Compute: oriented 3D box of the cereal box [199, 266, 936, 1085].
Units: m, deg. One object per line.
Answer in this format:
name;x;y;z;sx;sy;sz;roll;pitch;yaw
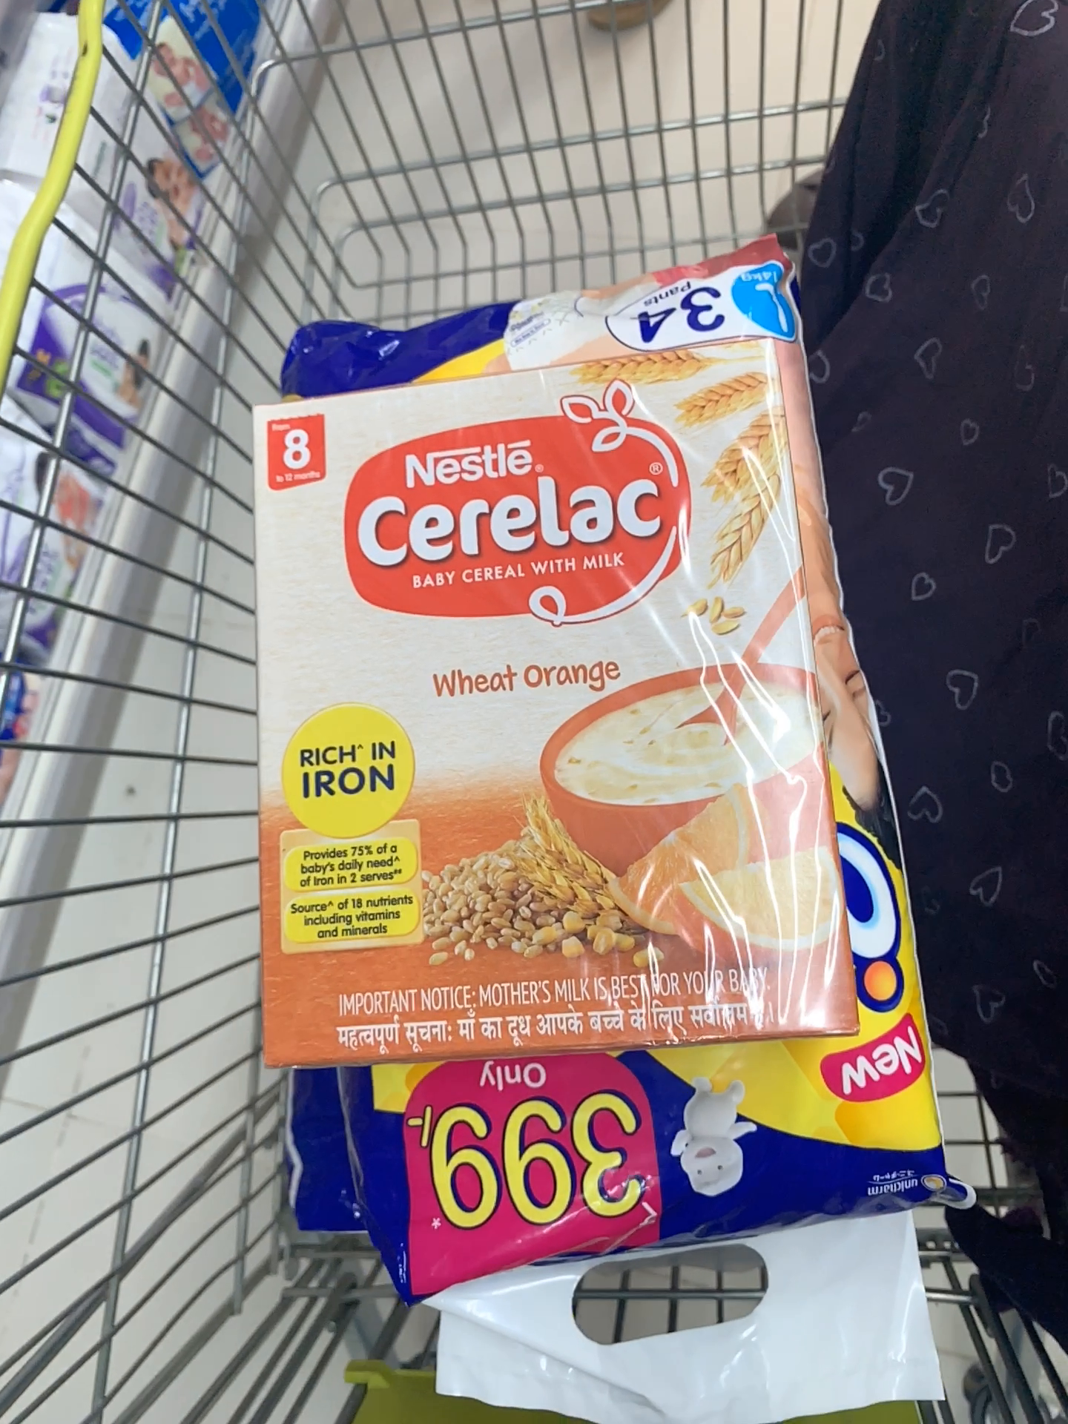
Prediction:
cereal box;0.002;-0.007;0.296;0.170;0.050;0.190;-6;78;9
